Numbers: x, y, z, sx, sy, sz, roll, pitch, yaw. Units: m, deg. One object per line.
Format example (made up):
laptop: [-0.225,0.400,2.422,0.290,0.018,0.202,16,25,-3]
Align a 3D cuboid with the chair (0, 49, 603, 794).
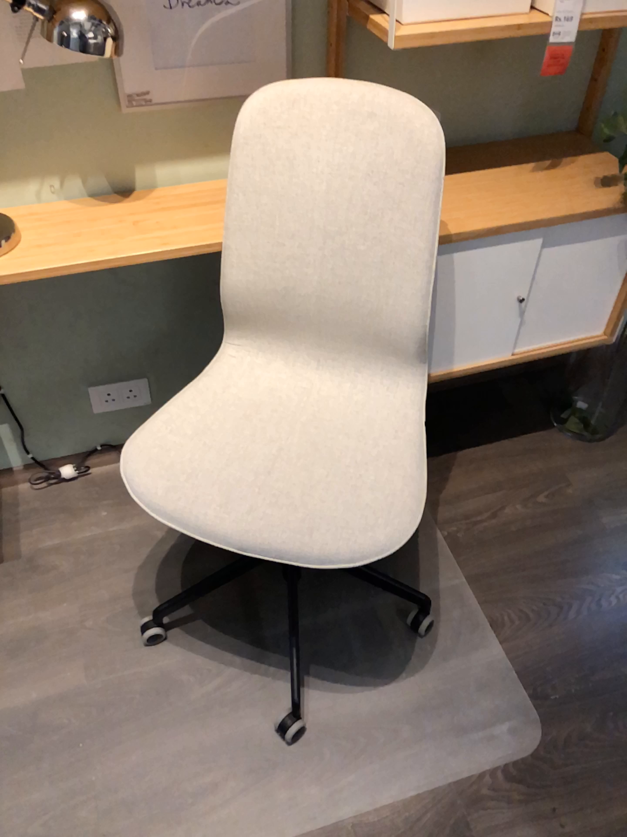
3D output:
chair: [-0.001,0.010,1.140,0.621,0.904,0.654,15,45,15]
